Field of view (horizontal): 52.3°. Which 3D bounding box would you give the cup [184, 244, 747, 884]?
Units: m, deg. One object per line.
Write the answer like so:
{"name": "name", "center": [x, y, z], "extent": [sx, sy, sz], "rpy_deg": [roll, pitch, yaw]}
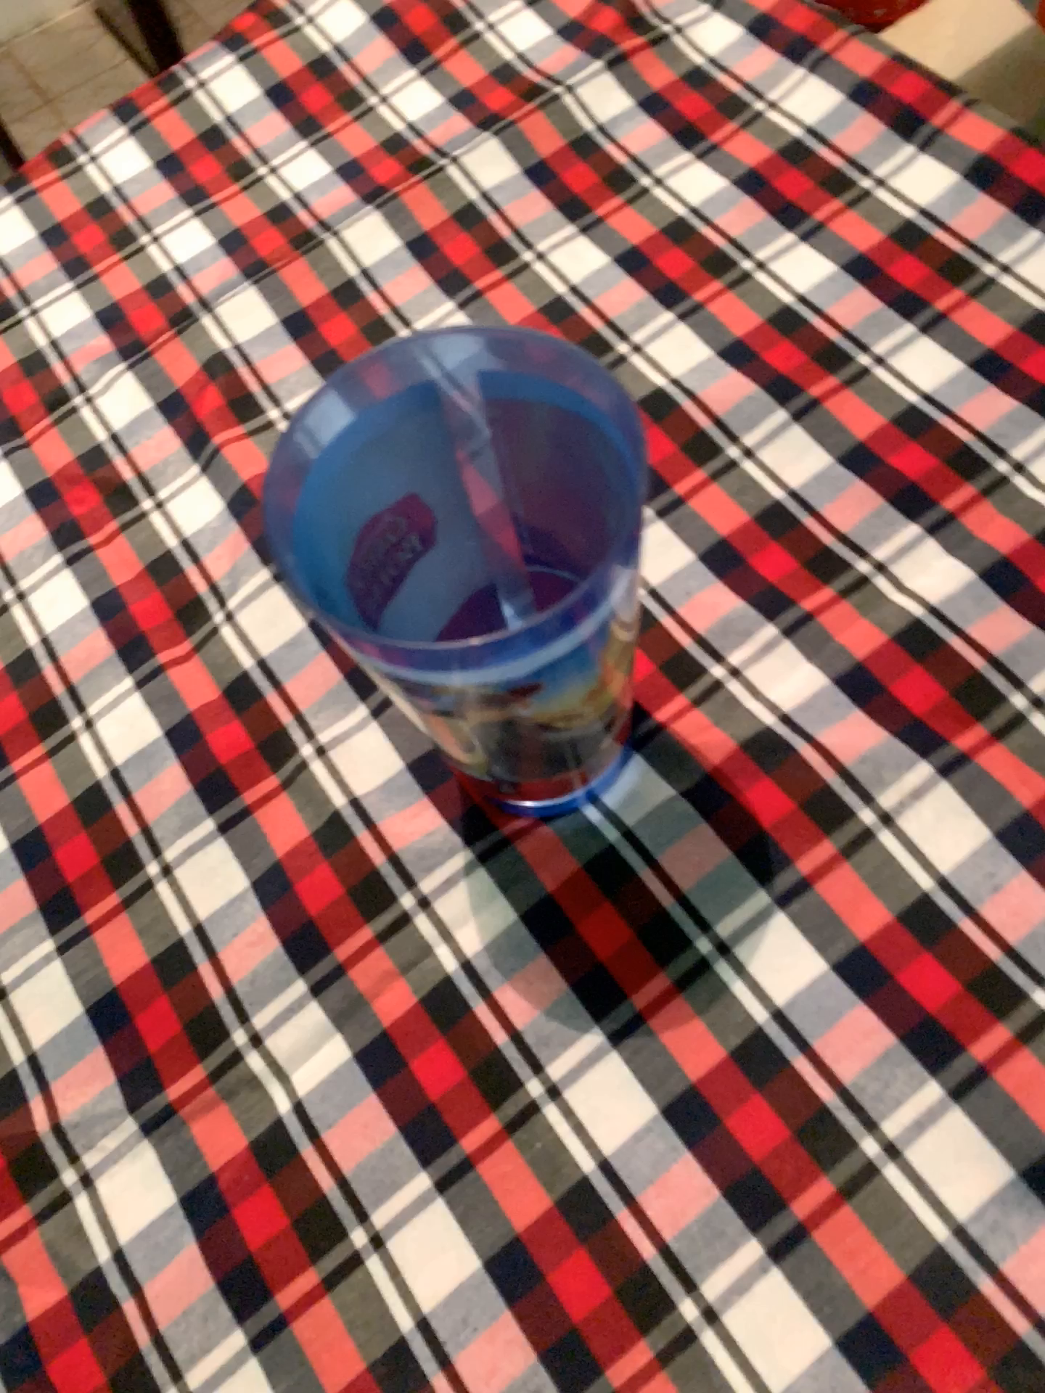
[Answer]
{"name": "cup", "center": [-0.005, -0.028, 0.294], "extent": [0.090, 0.130, 0.090], "rpy_deg": [-4, 64, 7]}
